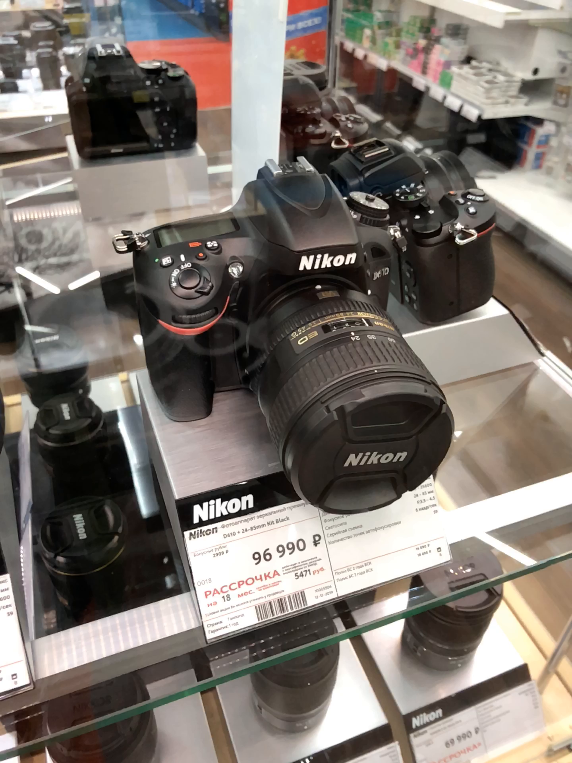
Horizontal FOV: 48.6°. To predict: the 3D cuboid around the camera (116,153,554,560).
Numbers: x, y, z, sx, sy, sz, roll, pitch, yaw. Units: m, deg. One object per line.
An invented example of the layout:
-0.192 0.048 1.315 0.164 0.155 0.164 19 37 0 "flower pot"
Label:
0.005 -0.024 0.303 0.148 0.109 0.151 -8 39 -12 "camera"
